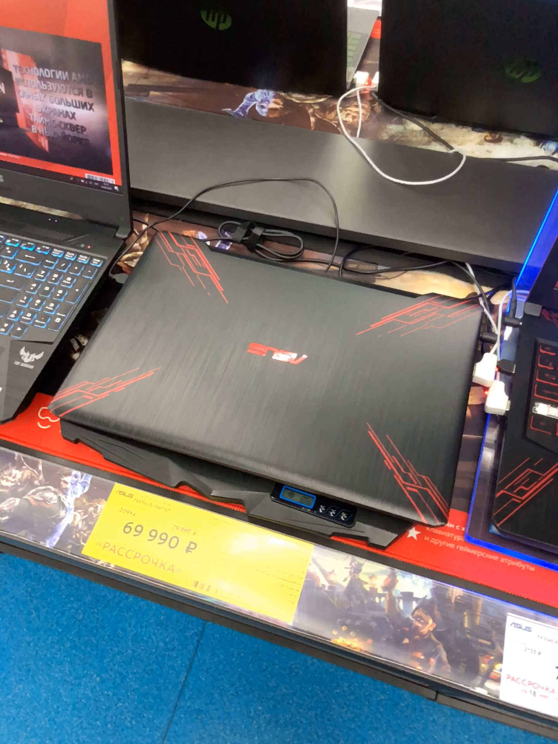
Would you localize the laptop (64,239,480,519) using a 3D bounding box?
[{"bbox_3d":[0.004,-0.016,0.611,0.358,0.003,0.240,15,56,11],"label":"laptop"}]
